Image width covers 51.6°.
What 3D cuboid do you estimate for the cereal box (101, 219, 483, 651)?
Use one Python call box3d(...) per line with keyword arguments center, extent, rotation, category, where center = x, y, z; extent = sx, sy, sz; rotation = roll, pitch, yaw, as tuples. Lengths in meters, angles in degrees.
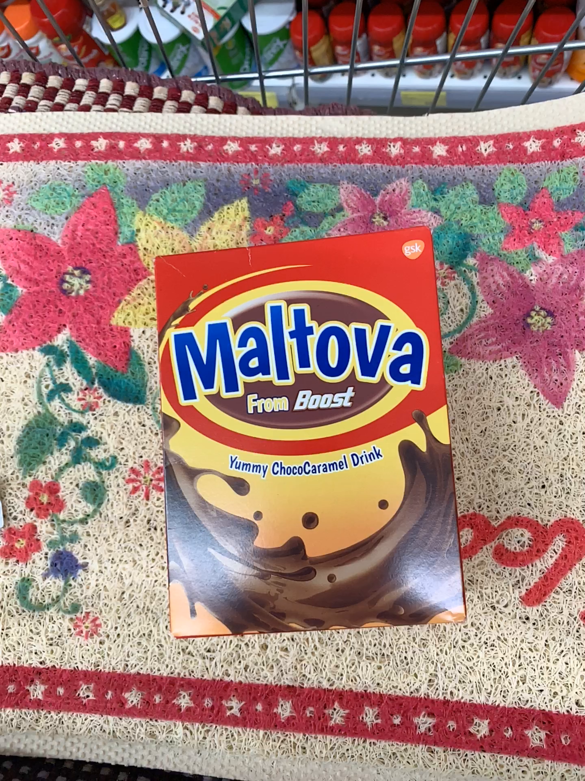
box3d(center=(-0.003, 0.022, 0.280), extent=(0.150, 0.050, 0.170), rotation=(-5, 83, 8), category="cereal box")
